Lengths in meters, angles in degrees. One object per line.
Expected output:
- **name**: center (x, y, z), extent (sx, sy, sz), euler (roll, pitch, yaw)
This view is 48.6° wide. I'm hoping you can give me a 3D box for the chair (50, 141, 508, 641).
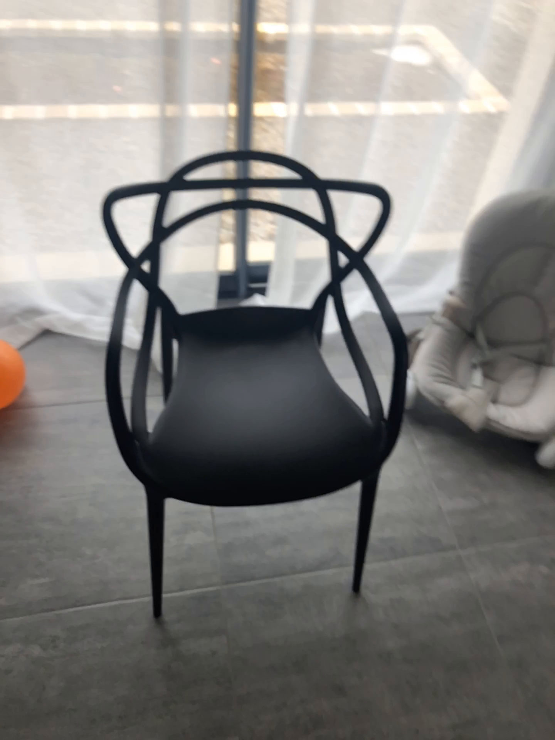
- **chair**: center (-0.052, 0.062, 1.230), extent (0.563, 0.795, 0.588), euler (-4, 48, -9)
